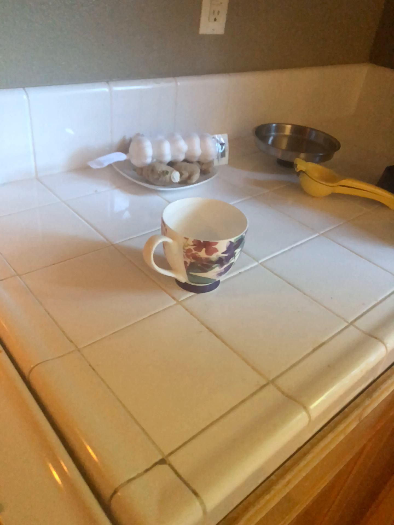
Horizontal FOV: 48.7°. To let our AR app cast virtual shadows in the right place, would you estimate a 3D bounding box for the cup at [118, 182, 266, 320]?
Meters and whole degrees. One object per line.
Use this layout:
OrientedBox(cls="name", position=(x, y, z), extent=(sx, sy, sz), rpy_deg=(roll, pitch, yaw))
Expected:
OrientedBox(cls="cup", position=(-0.005, -0.022, 0.540), extent=(0.110, 0.079, 0.151), rpy_deg=(26, 39, 24))
